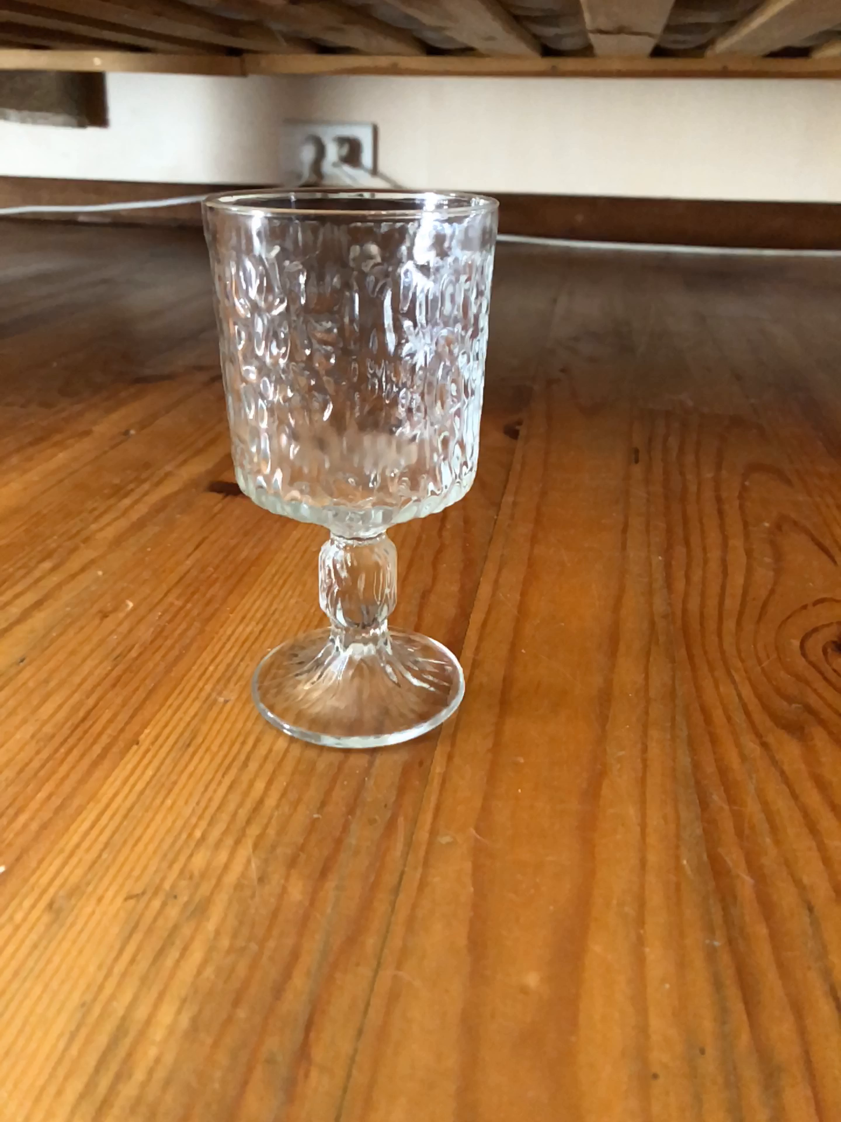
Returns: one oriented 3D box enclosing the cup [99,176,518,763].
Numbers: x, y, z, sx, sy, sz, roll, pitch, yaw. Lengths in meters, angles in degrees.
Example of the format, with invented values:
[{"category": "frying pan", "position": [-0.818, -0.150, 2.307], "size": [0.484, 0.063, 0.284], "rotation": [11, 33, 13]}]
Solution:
[{"category": "cup", "position": [-0.022, -0.030, 0.253], "size": [0.081, 0.134, 0.081], "rotation": [1, 24, 0]}]
